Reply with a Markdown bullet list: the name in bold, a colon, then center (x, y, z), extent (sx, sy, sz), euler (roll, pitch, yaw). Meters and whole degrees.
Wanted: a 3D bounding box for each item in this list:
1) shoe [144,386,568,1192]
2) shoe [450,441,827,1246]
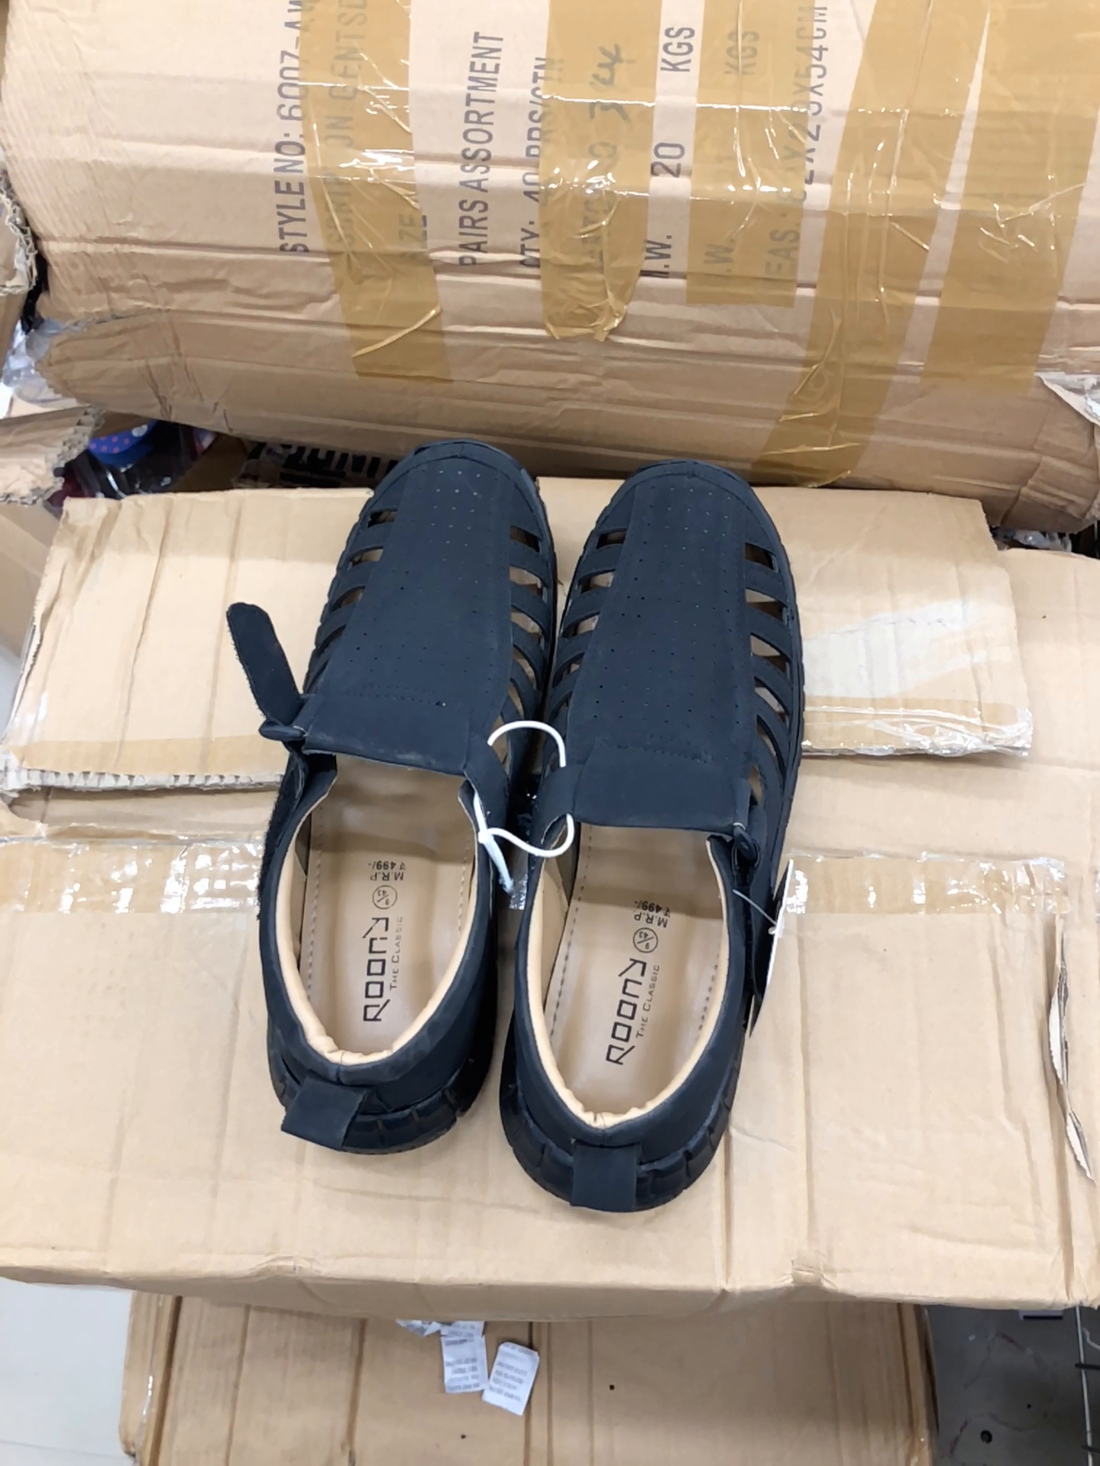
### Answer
- **shoe**: center (-0.055, 0.015, 0.454), extent (0.110, 0.100, 0.281), euler (2, 64, 2)
- **shoe**: center (0.039, 0.036, 0.451), extent (0.100, 0.100, 0.271), euler (7, 64, 4)
